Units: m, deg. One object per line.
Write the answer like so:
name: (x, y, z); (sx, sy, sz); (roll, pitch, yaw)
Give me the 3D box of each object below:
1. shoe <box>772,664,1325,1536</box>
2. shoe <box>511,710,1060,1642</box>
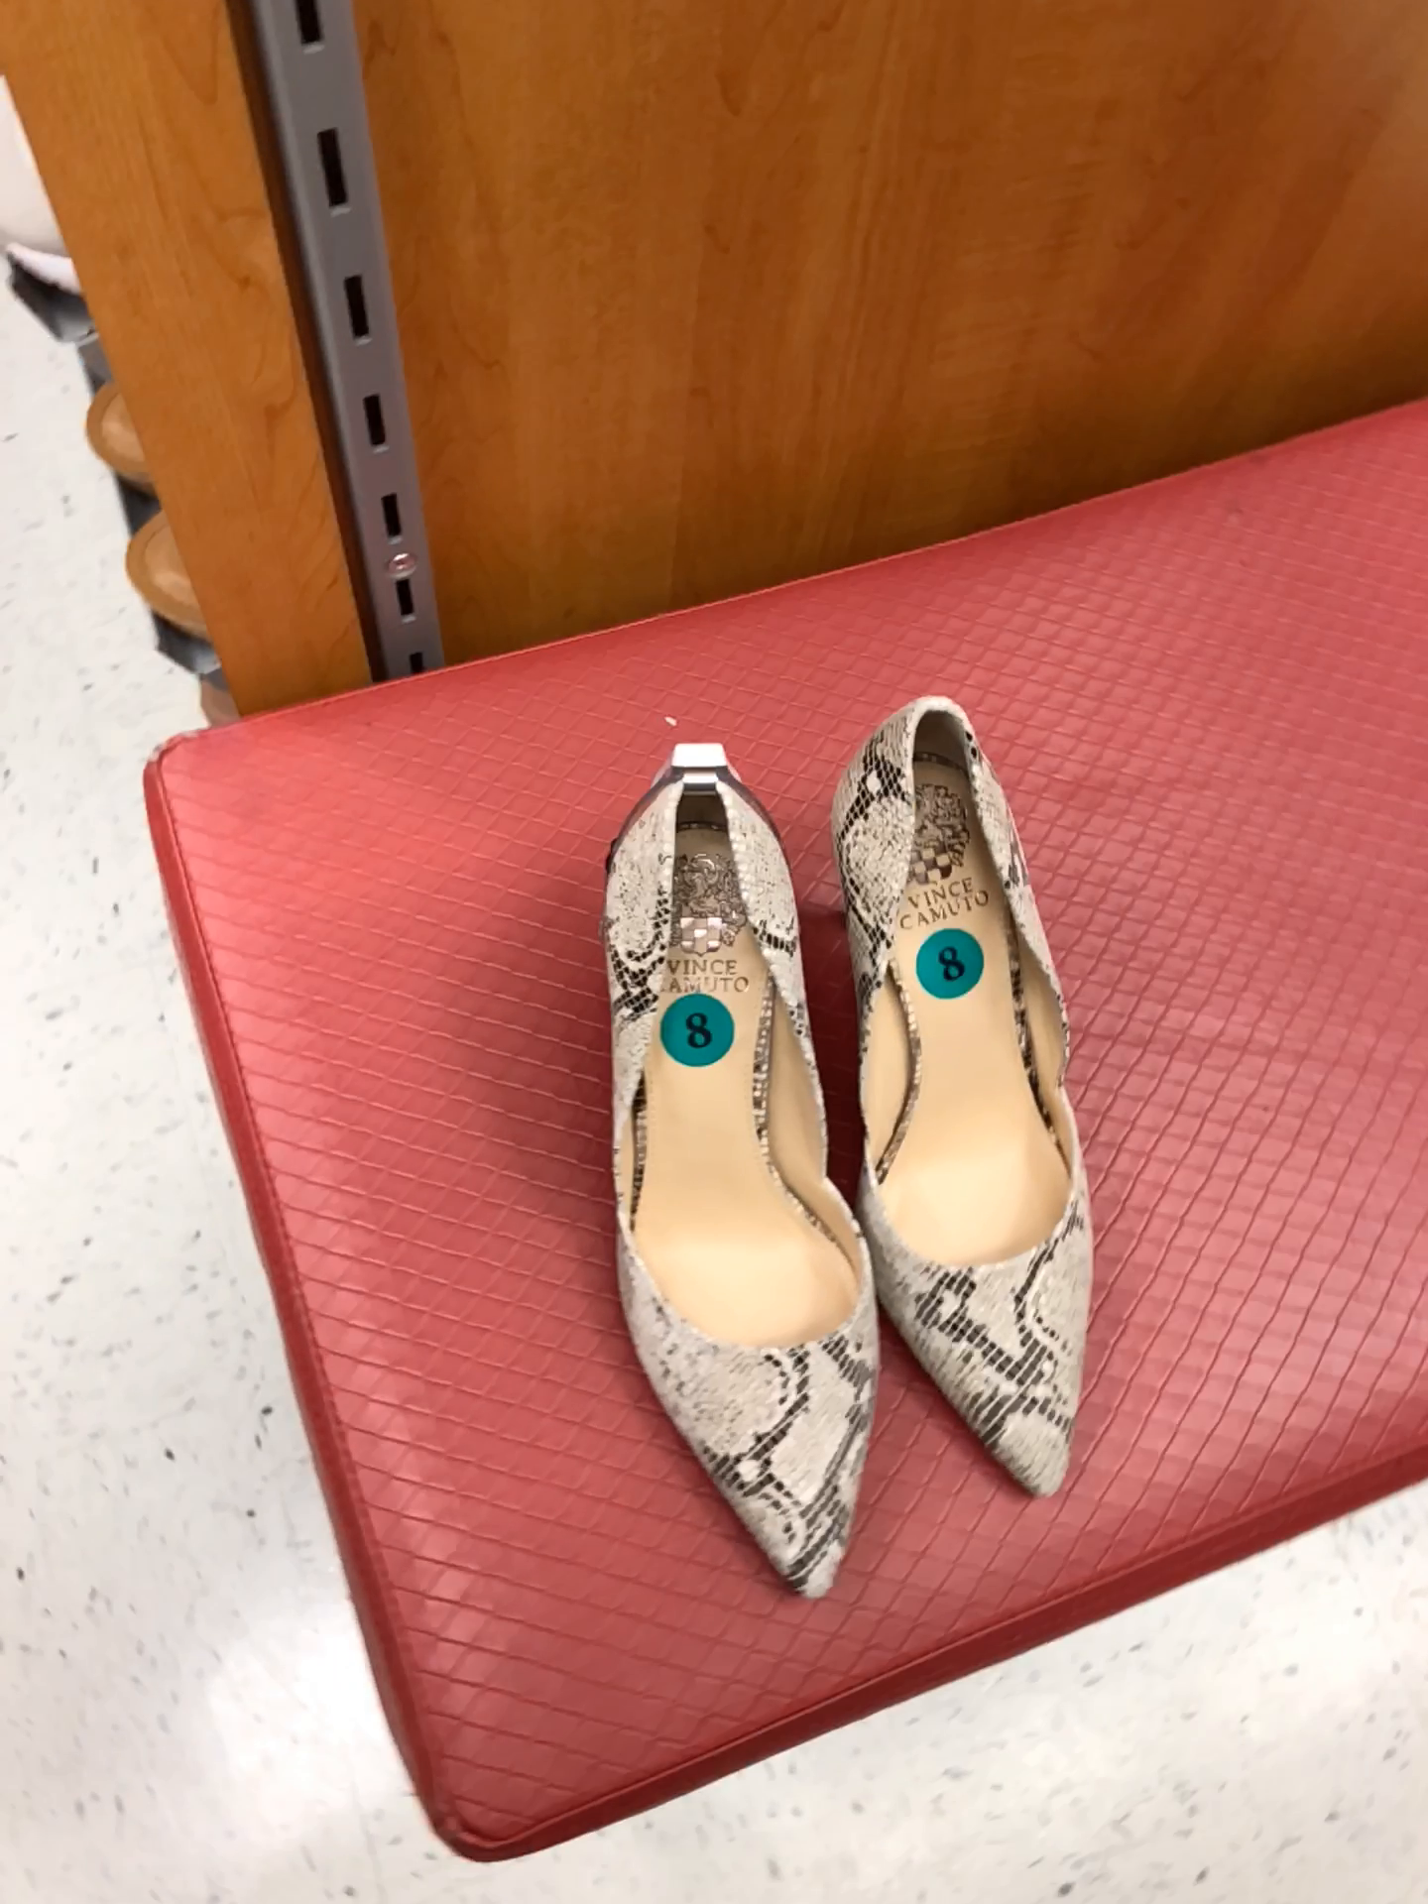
shoe: (0.096, 0.047, 0.523); (0.093, 0.102, 0.259); (-8, 68, -8)
shoe: (0.009, 0.070, 0.506); (0.092, 0.112, 0.262); (-12, 68, -10)
